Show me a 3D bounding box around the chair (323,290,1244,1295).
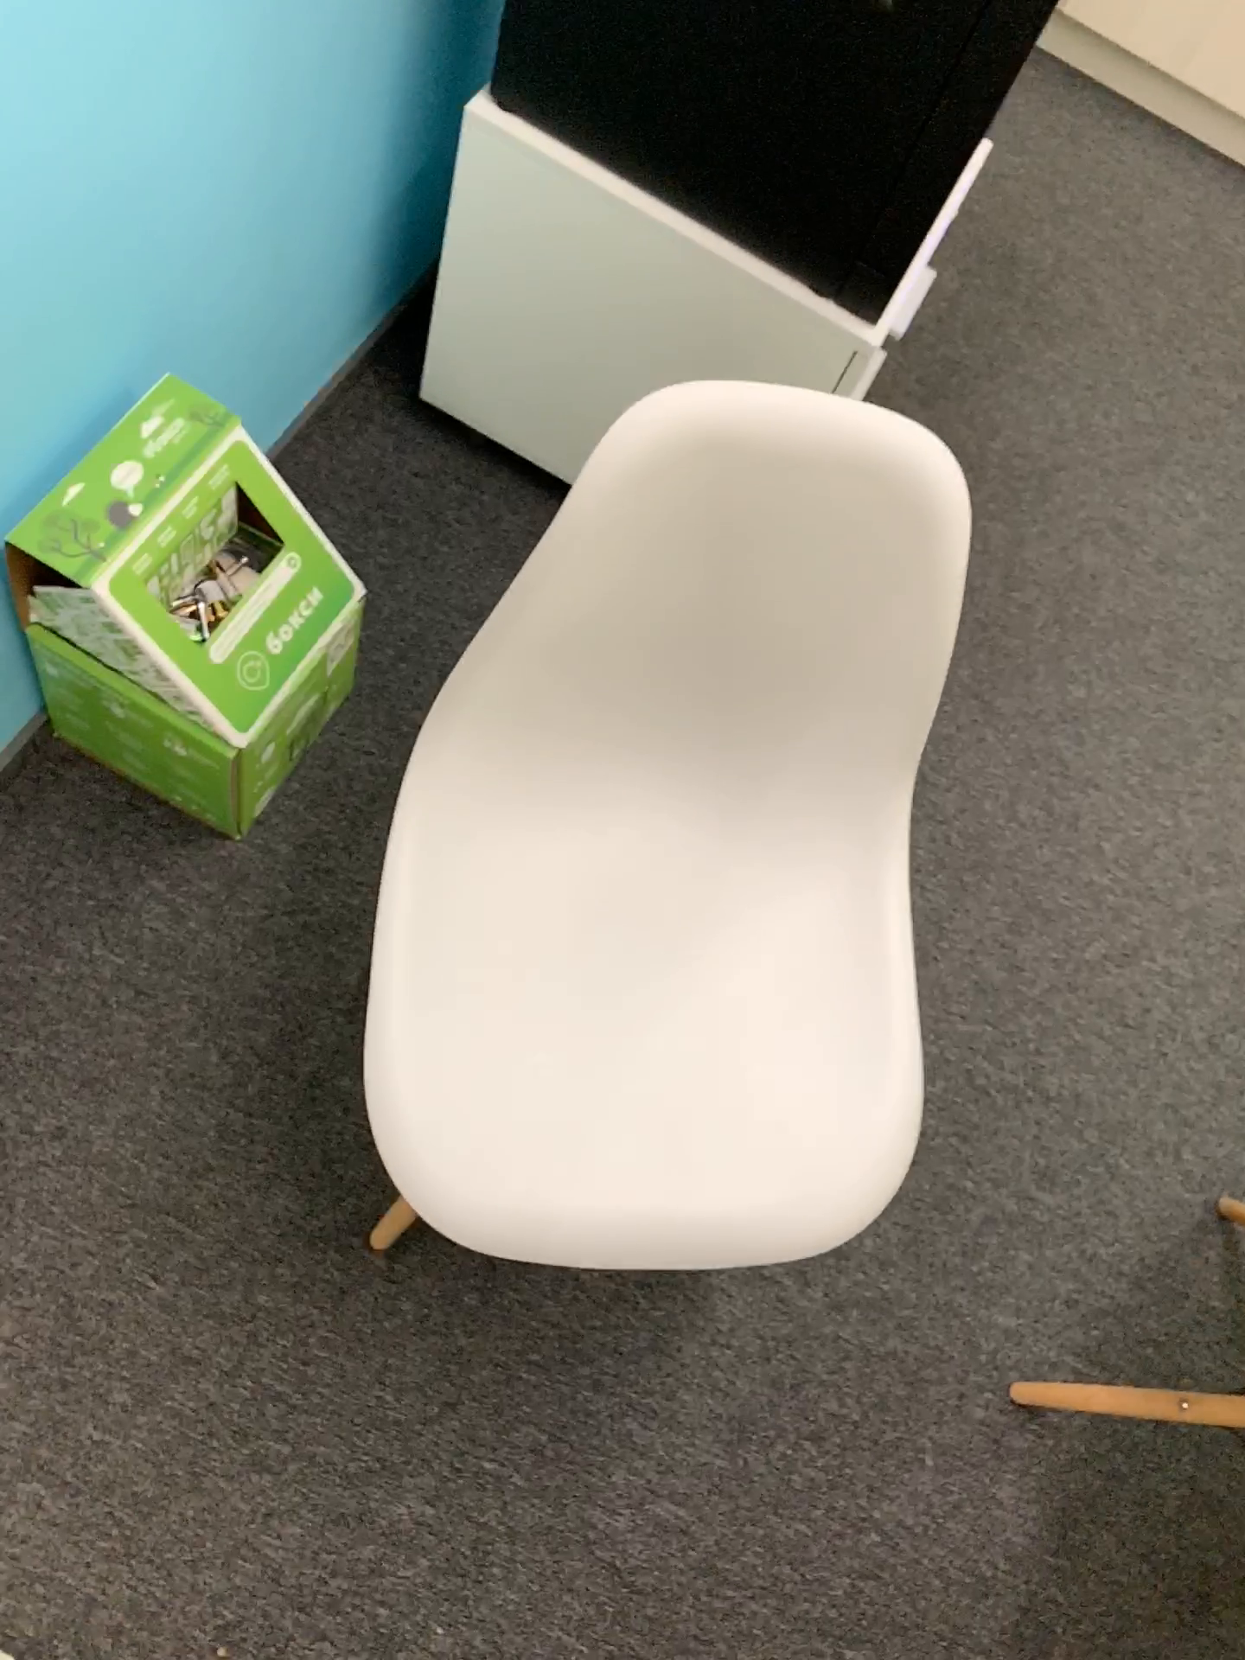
[{"bbox_3d":[0.021,0.089,1.084,0.461,0.818,0.501,6,64,-13],"label":"chair"}]
